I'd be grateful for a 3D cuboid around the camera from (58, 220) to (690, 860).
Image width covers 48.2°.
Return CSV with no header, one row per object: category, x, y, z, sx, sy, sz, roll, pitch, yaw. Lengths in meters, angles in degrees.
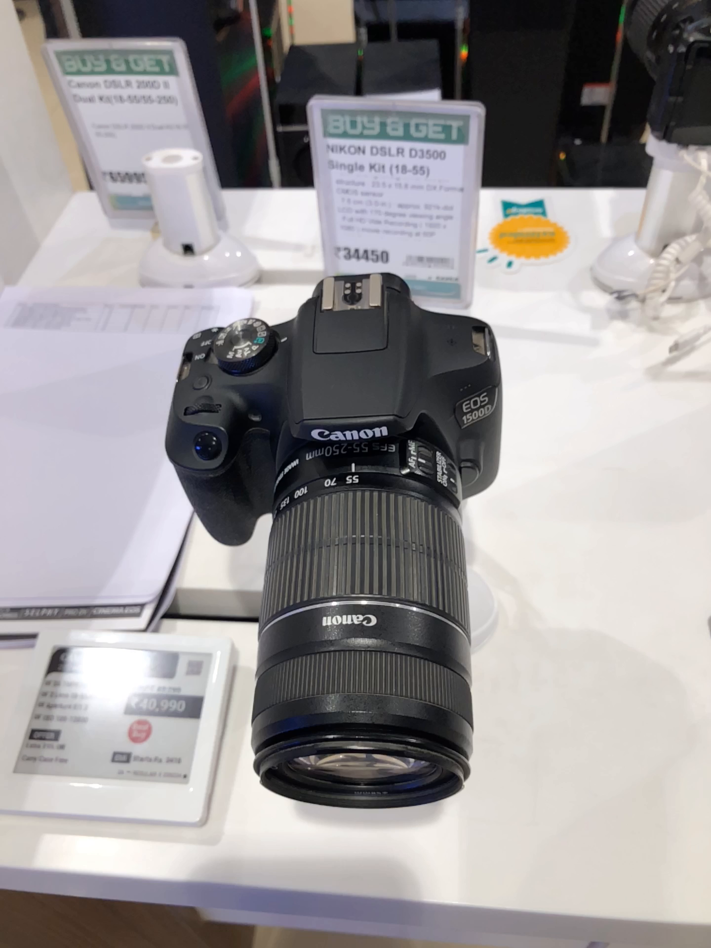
camera,0.004,0.011,0.276,0.140,0.089,0.201,-3,48,2
